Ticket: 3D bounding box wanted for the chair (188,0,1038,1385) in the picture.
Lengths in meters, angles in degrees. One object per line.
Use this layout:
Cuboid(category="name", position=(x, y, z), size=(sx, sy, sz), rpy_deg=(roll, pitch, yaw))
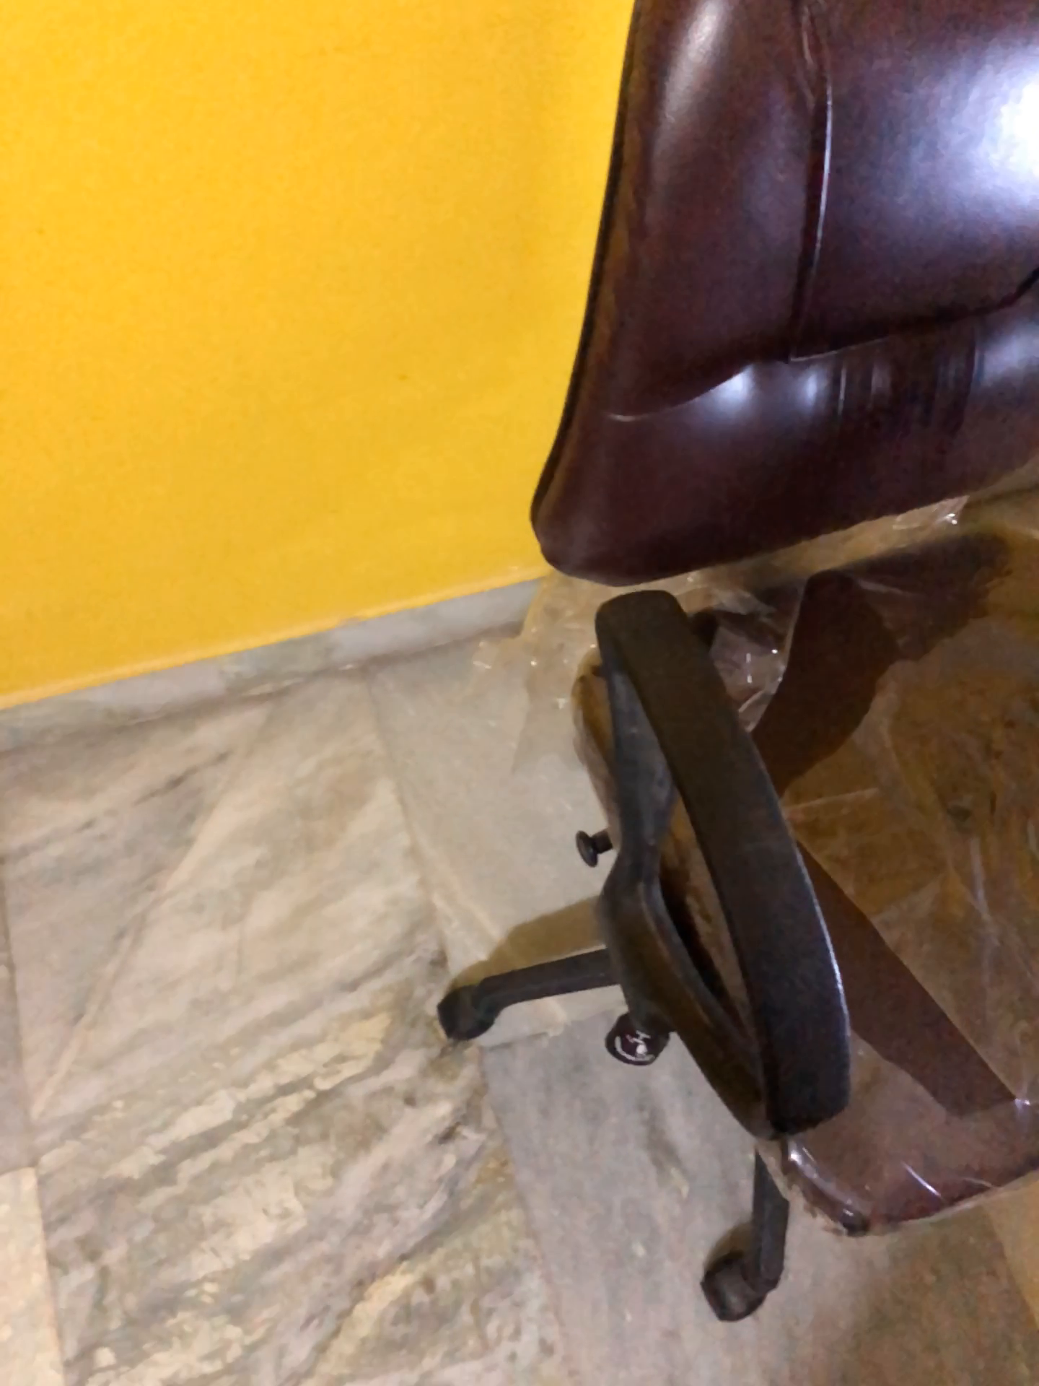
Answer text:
Cuboid(category="chair", position=(0.284, 0.036, 0.831), size=(0.692, 0.975, 0.682), rpy_deg=(-19, 64, -14))
